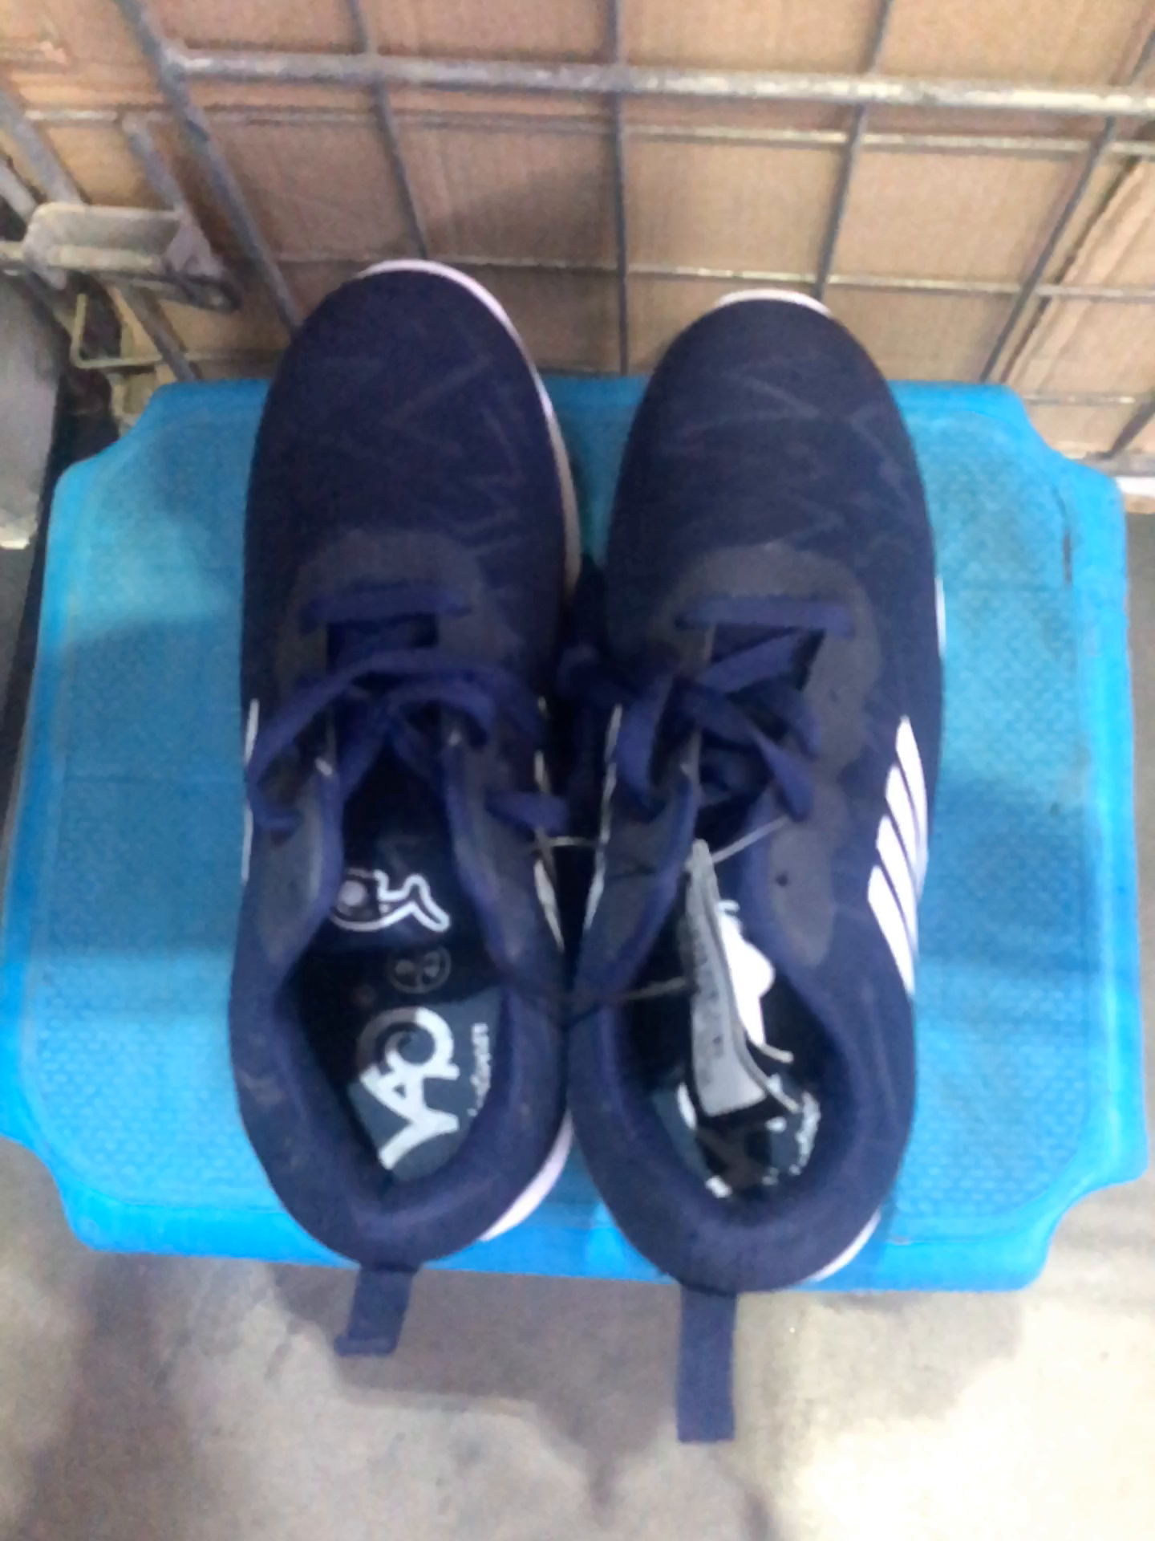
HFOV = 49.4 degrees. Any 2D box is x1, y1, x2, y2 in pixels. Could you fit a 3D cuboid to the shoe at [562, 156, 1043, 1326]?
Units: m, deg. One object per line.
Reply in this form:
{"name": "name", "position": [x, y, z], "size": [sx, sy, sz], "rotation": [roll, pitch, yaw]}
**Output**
{"name": "shoe", "position": [0.051, -0.009, 0.336], "size": [0.100, 0.100, 0.270], "rotation": [0, 80, 3]}

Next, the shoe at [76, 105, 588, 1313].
{"name": "shoe", "position": [-0.050, -0.016, 0.326], "size": [0.100, 0.100, 0.270], "rotation": [-1, 80, 3]}
